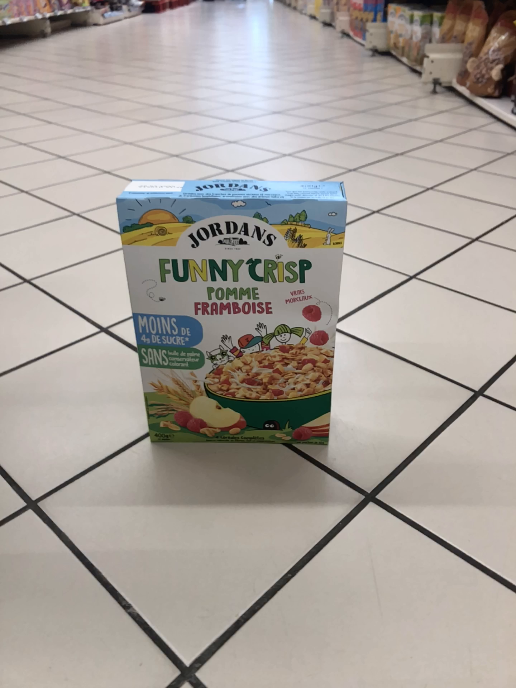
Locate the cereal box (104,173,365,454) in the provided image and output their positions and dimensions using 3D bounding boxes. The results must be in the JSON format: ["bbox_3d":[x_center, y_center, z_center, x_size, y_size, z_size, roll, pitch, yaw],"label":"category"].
[{"bbox_3d":[-0.015,-0.019,0.481,0.180,0.229,0.070,1,31,1],"label":"cereal box"}]
